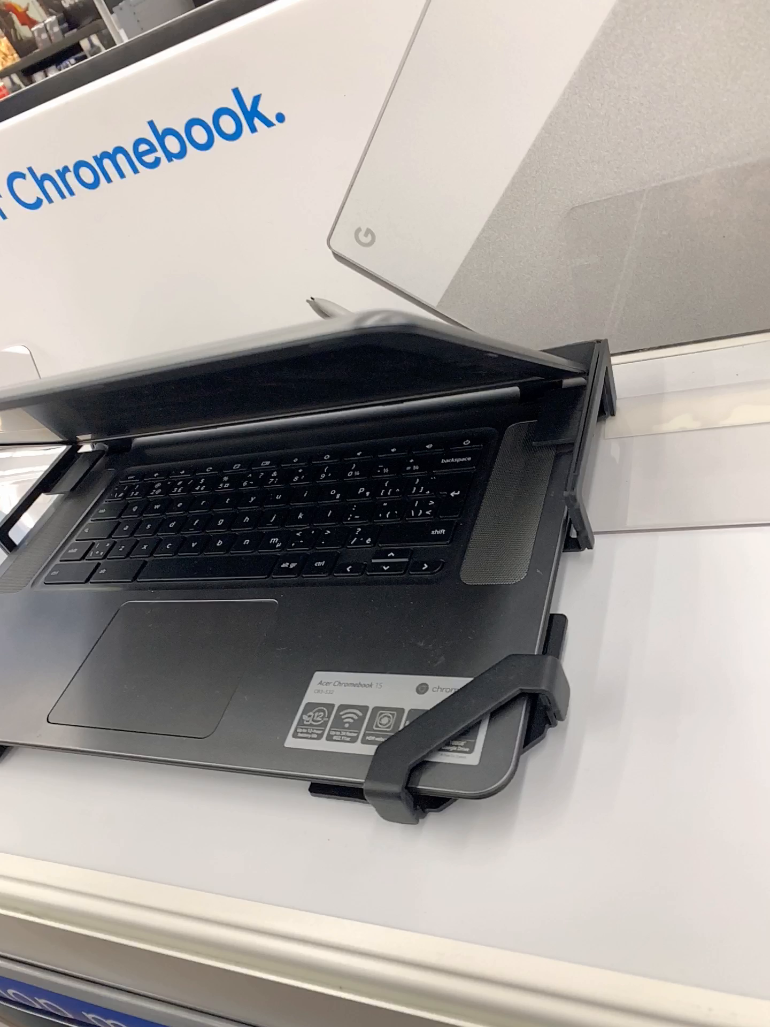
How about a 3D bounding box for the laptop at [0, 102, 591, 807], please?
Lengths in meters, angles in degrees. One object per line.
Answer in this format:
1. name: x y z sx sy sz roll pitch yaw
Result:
1. laptop: -0.096 -0.024 0.316 0.303 0.119 0.197 -4 42 28
